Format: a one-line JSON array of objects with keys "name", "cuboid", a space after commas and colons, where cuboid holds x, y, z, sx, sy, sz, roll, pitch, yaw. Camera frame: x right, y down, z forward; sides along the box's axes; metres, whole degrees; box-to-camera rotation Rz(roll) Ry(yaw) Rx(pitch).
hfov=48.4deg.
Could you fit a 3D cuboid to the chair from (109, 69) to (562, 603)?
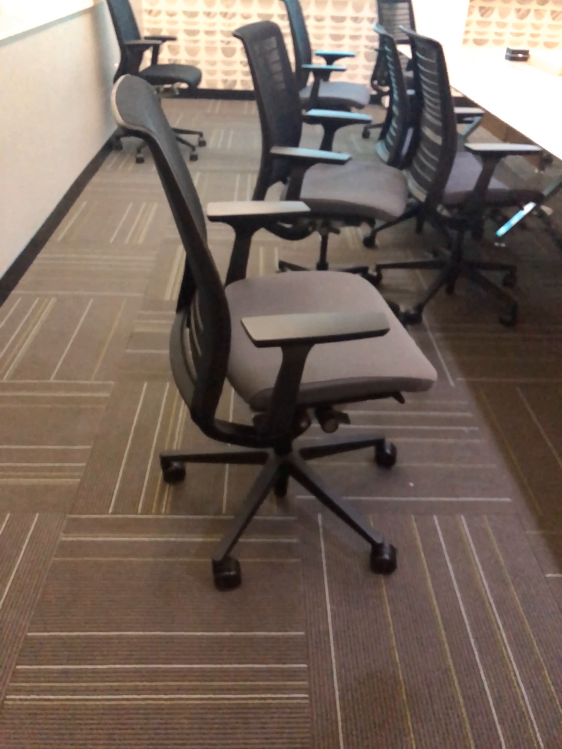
[{"name": "chair", "cuboid": [0.014, -0.138, 1.358, 0.660, 0.856, 0.724, -5, 33, -12]}]
